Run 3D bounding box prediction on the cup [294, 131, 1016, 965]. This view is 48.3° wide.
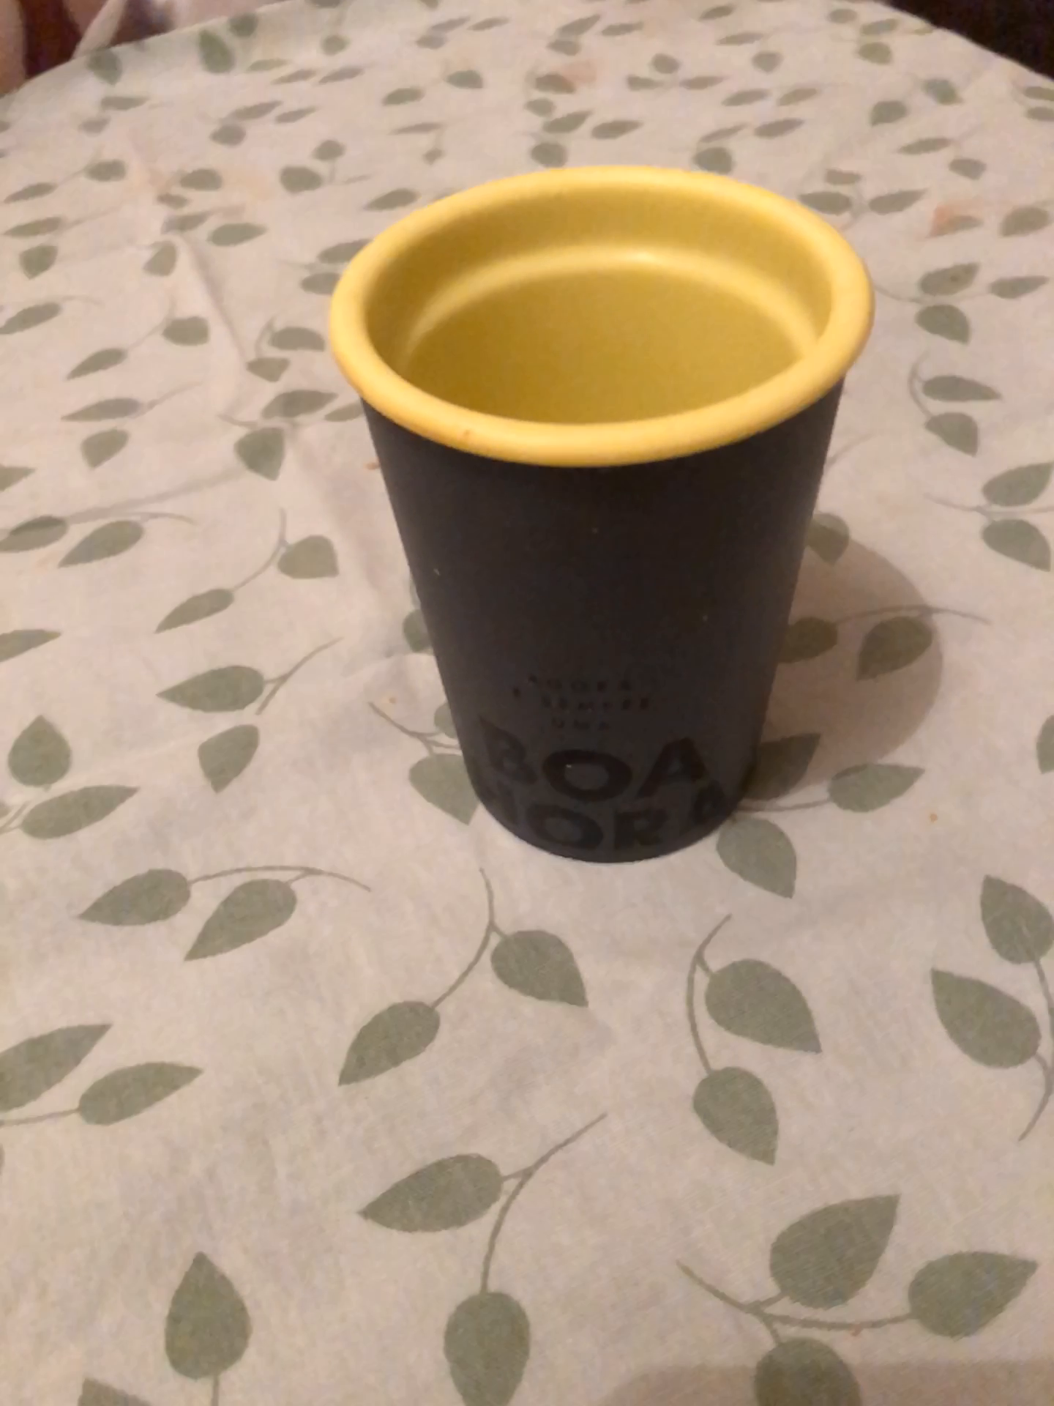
[{"bbox_3d":[0.014,-0.026,0.219,0.090,0.109,0.091,-2,48,2],"label":"cup"}]
